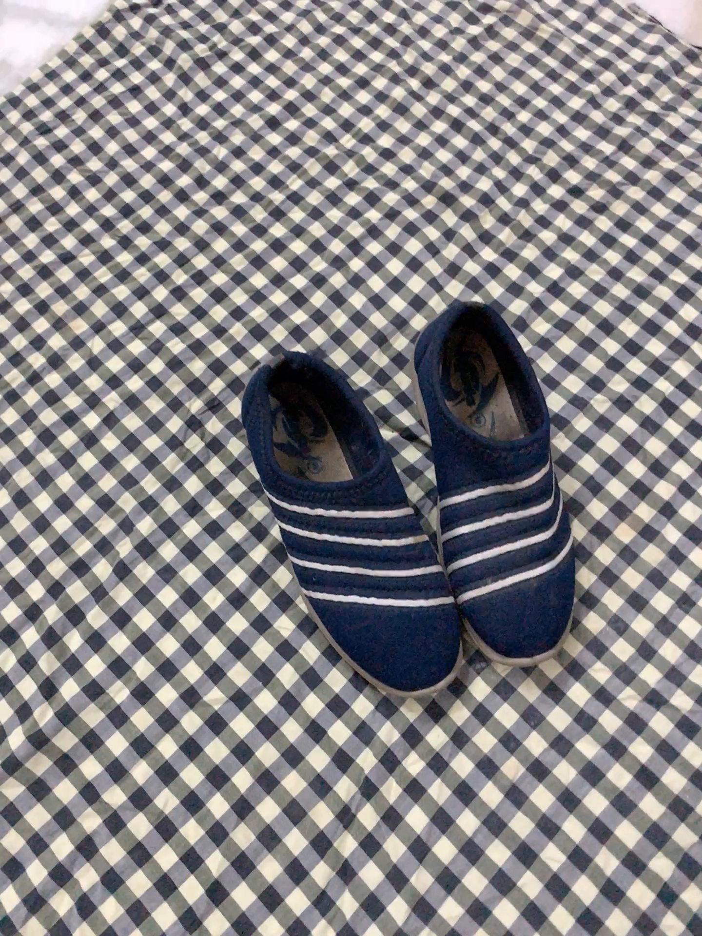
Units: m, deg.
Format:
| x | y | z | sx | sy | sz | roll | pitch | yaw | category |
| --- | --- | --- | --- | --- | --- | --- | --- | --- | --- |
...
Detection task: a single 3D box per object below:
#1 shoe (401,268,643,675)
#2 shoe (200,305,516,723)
| x | y | z | sx | sy | sz | roll | pitch | yaw | category |
| --- | --- | --- | --- | --- | --- | --- | --- | --- | --- |
| 0.103 | 0.004 | 0.498 | 0.090 | 0.100 | 0.251 | -10 | 71 | -1 | shoe |
| -0.001 | 0.029 | 0.483 | 0.090 | 0.090 | 0.251 | -26 | 72 | -6 | shoe |
